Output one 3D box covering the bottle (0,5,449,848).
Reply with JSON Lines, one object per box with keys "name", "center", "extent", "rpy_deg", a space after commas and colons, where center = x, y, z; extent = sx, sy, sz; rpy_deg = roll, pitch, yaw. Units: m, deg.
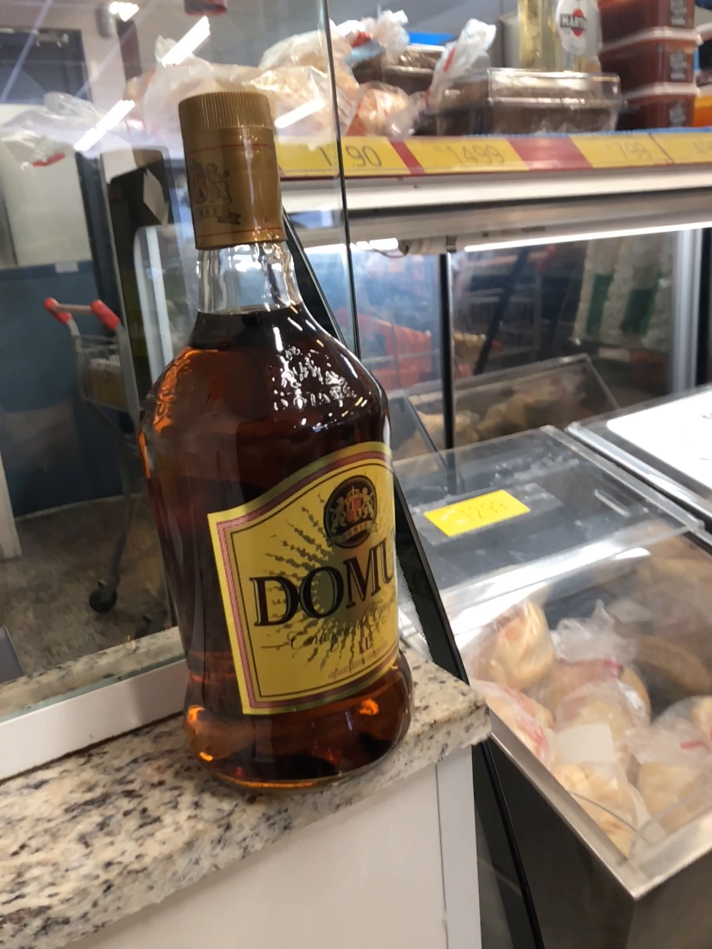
{"name": "bottle", "center": [-0.047, -0.017, 0.307], "extent": [0.110, 0.259, 0.100], "rpy_deg": [-5, 15, 1]}
